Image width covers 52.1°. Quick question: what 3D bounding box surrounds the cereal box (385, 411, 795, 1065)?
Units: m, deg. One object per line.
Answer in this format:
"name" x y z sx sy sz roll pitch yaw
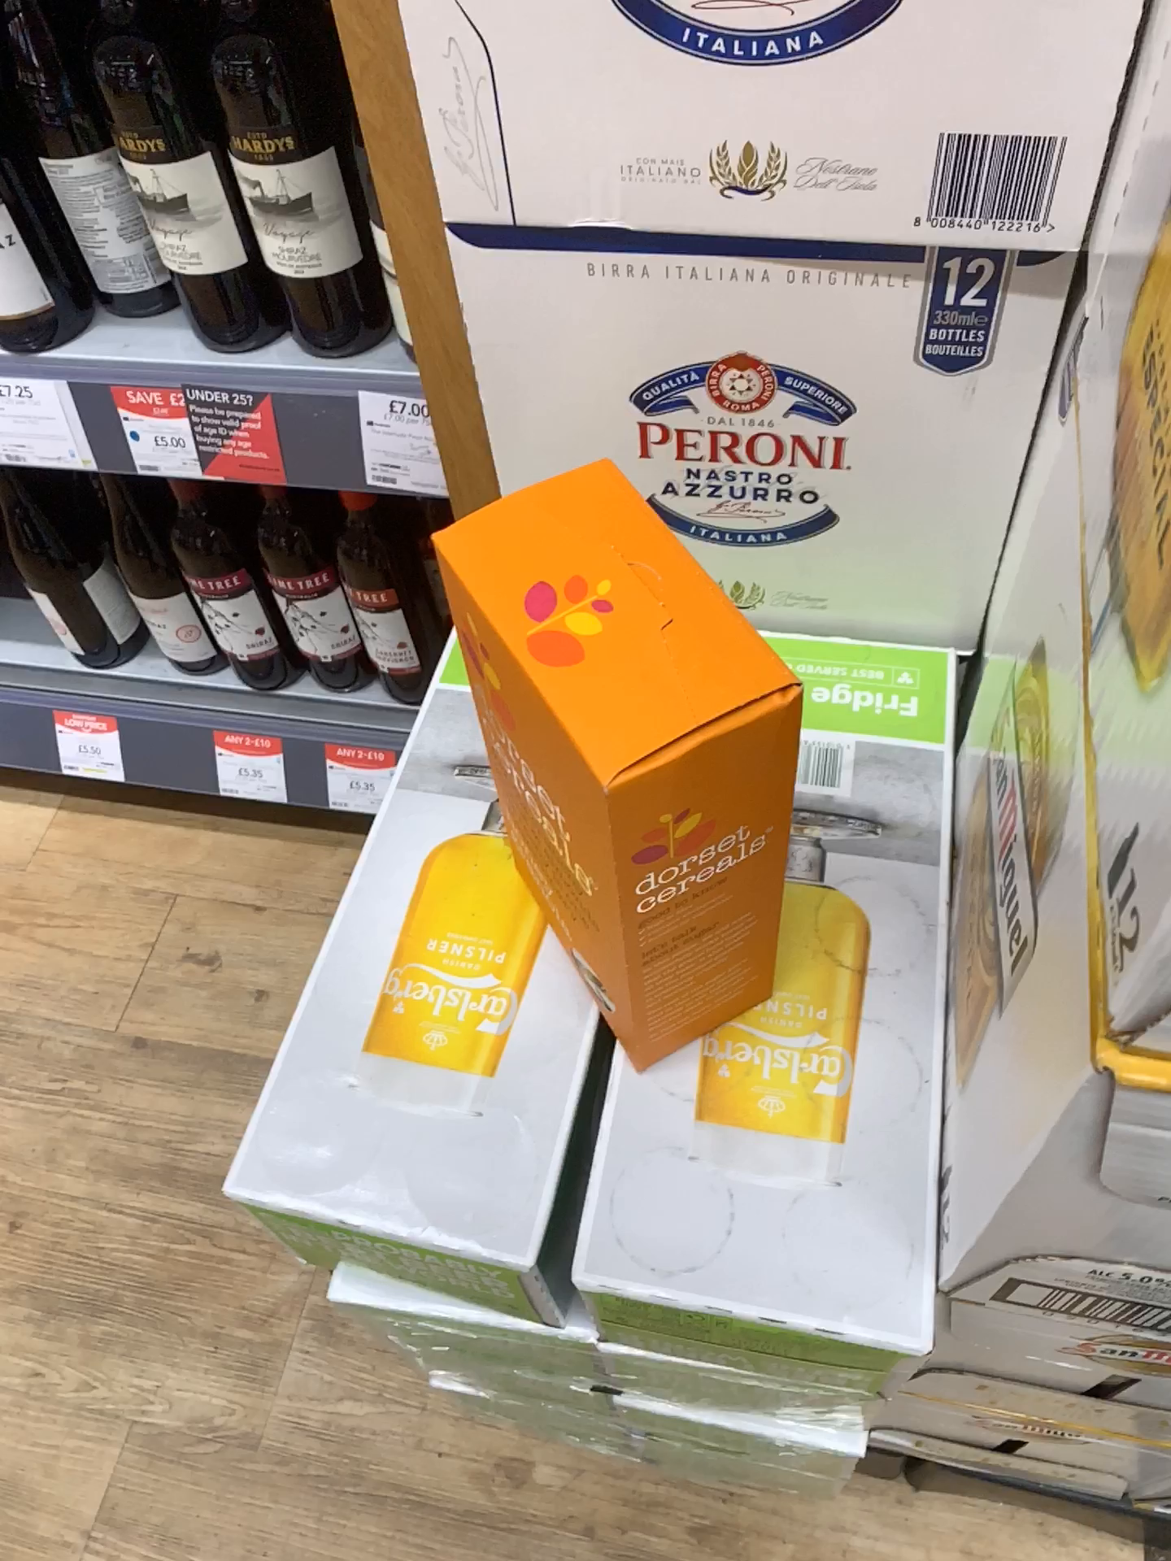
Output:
"cereal box" 0.006 -0.004 0.424 0.070 0.198 0.121 -26 56 -12
